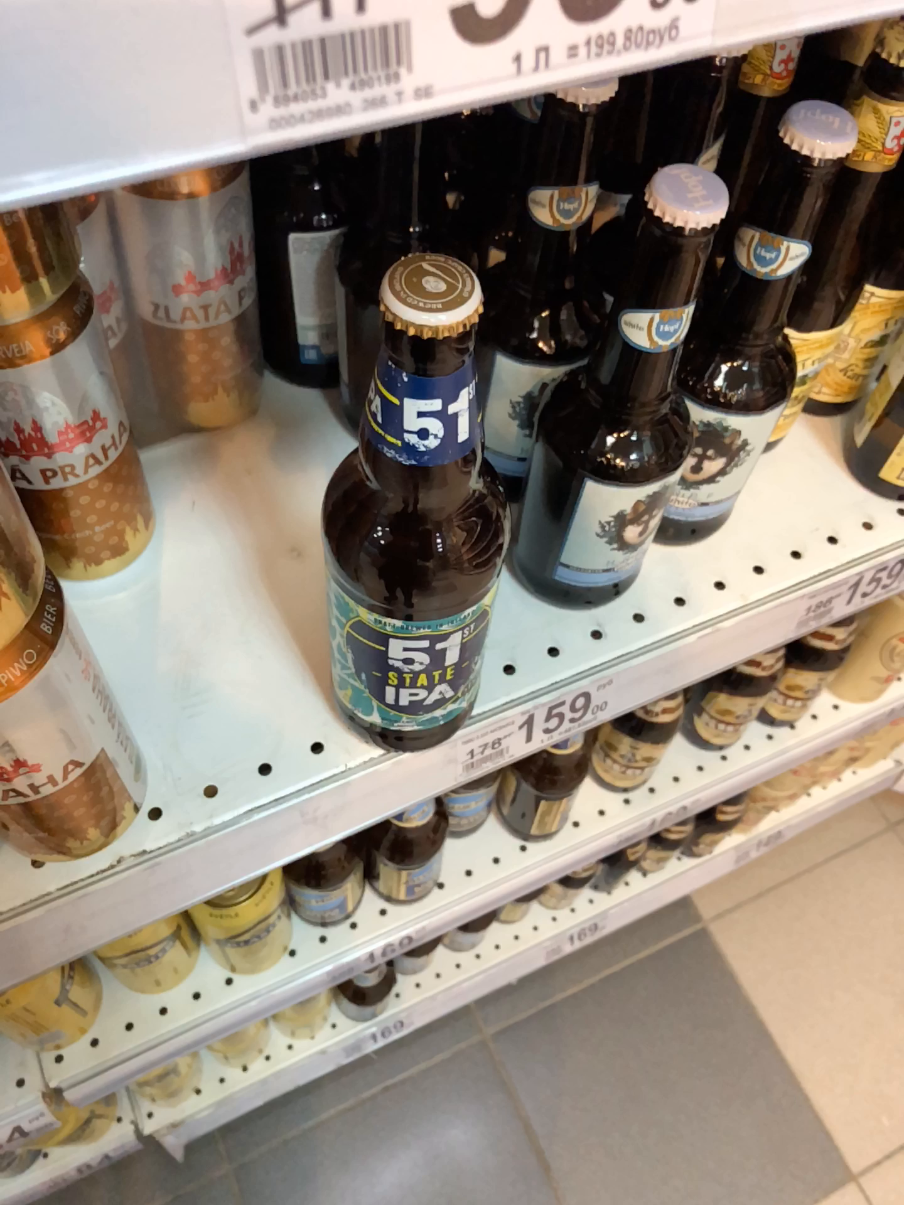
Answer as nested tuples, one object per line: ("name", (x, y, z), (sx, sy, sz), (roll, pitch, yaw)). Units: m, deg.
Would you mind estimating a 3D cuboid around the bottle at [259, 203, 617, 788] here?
("bottle", (-0.016, -0.018, 0.372), (0.080, 0.239, 0.070), (-13, 60, -14))
